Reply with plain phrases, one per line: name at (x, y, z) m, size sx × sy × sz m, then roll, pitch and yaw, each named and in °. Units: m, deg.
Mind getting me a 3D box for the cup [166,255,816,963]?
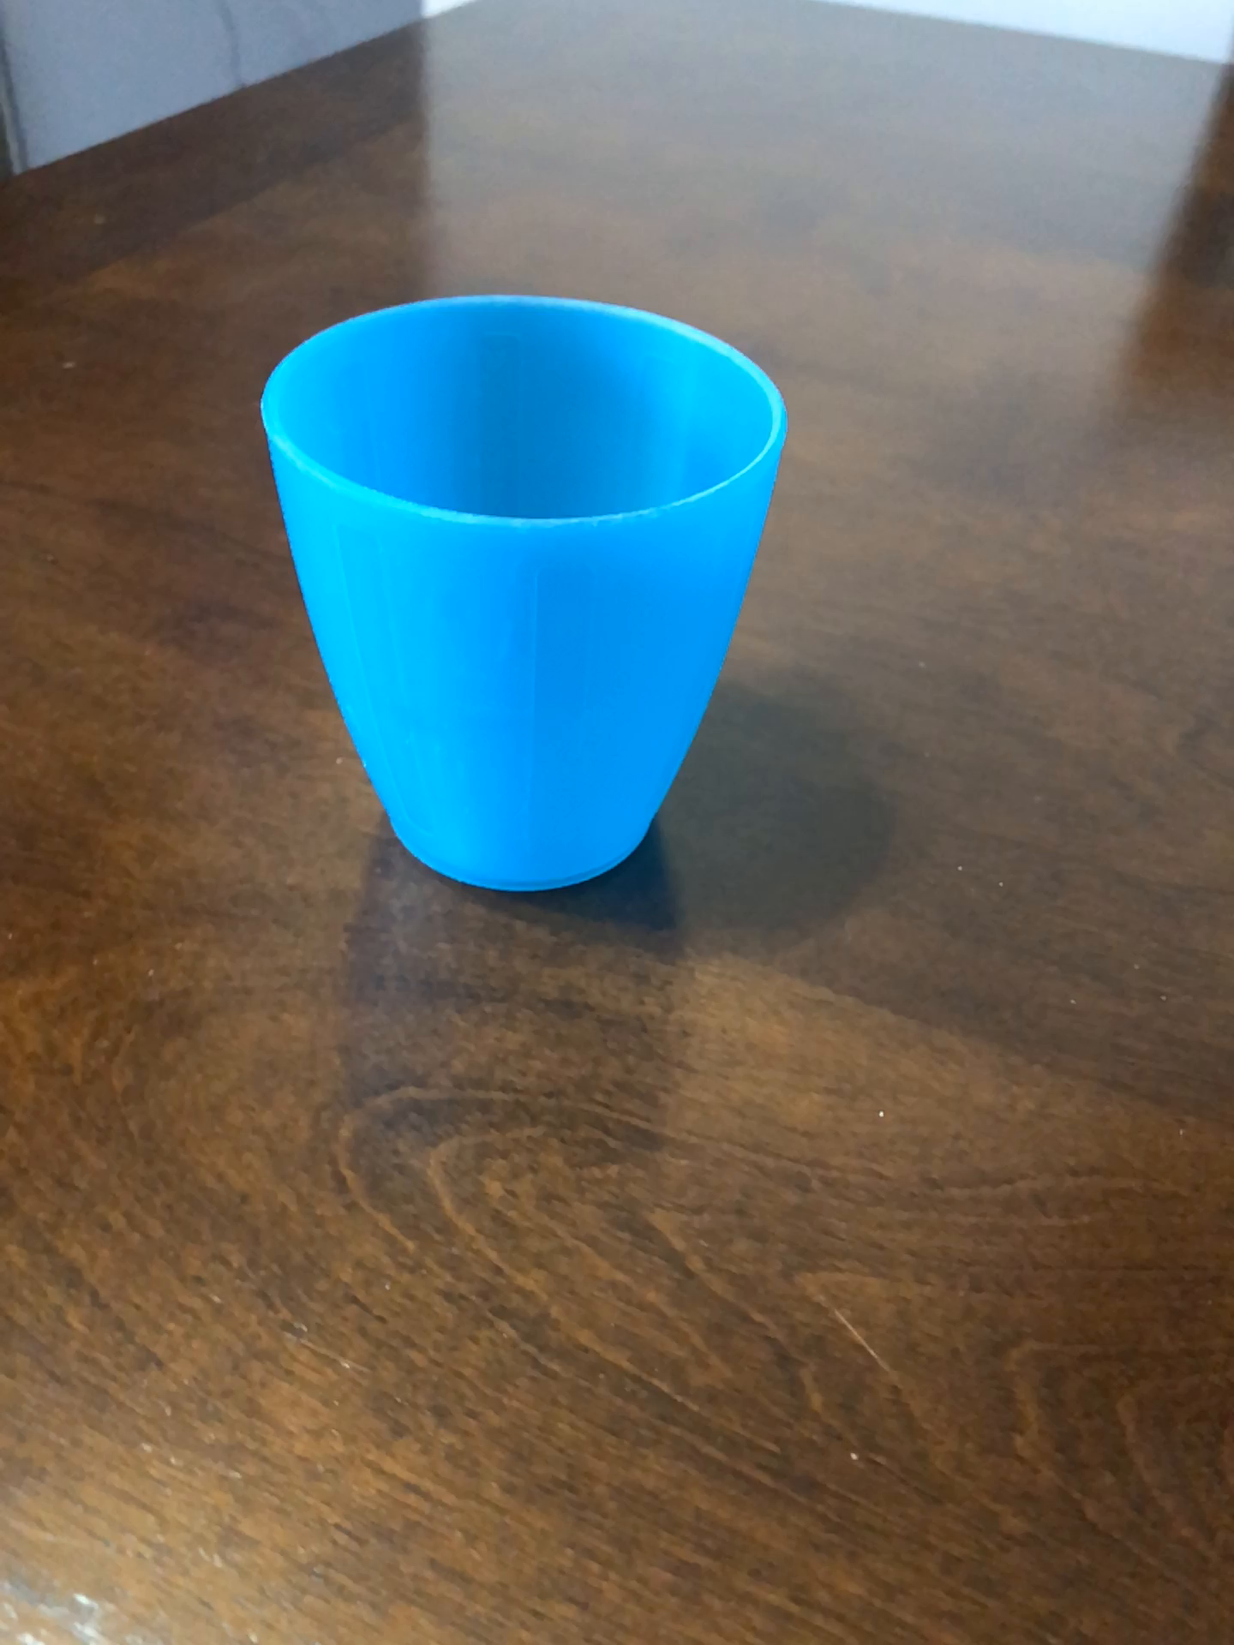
cup at (-0.015, -0.035, 0.222) m, size 0.080 × 0.080 × 0.070 m, roll 6°, pitch 41°, yaw 2°
